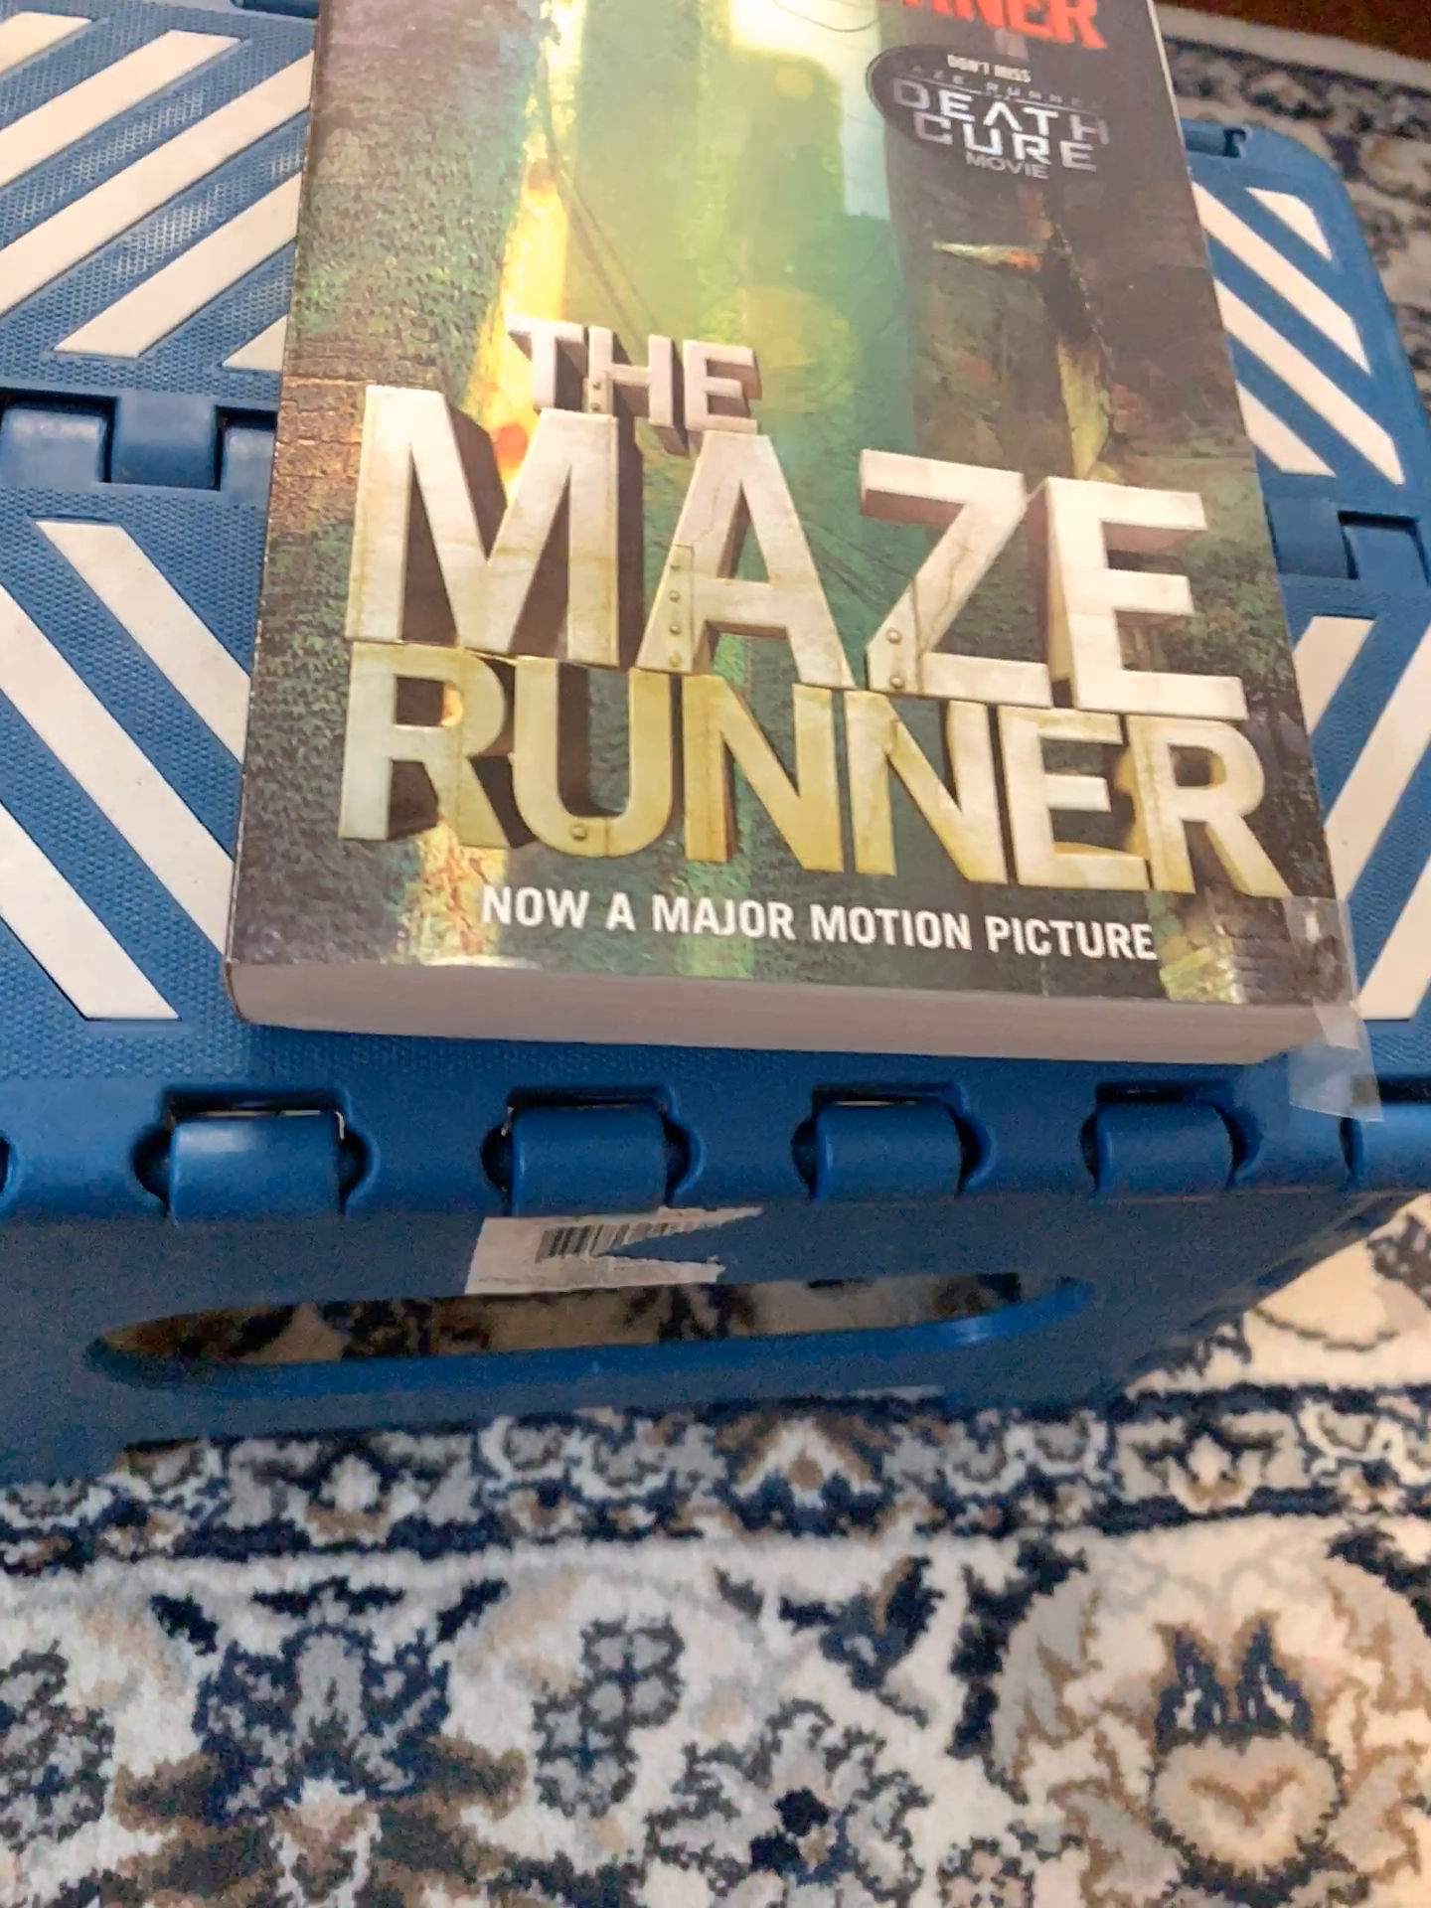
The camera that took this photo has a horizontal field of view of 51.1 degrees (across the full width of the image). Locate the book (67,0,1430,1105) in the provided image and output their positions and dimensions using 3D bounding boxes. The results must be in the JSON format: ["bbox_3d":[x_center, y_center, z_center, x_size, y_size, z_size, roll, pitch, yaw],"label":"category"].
[{"bbox_3d":[0.007,-0.096,0.214,0.150,0.030,0.231,4,66,-12],"label":"book"}]
